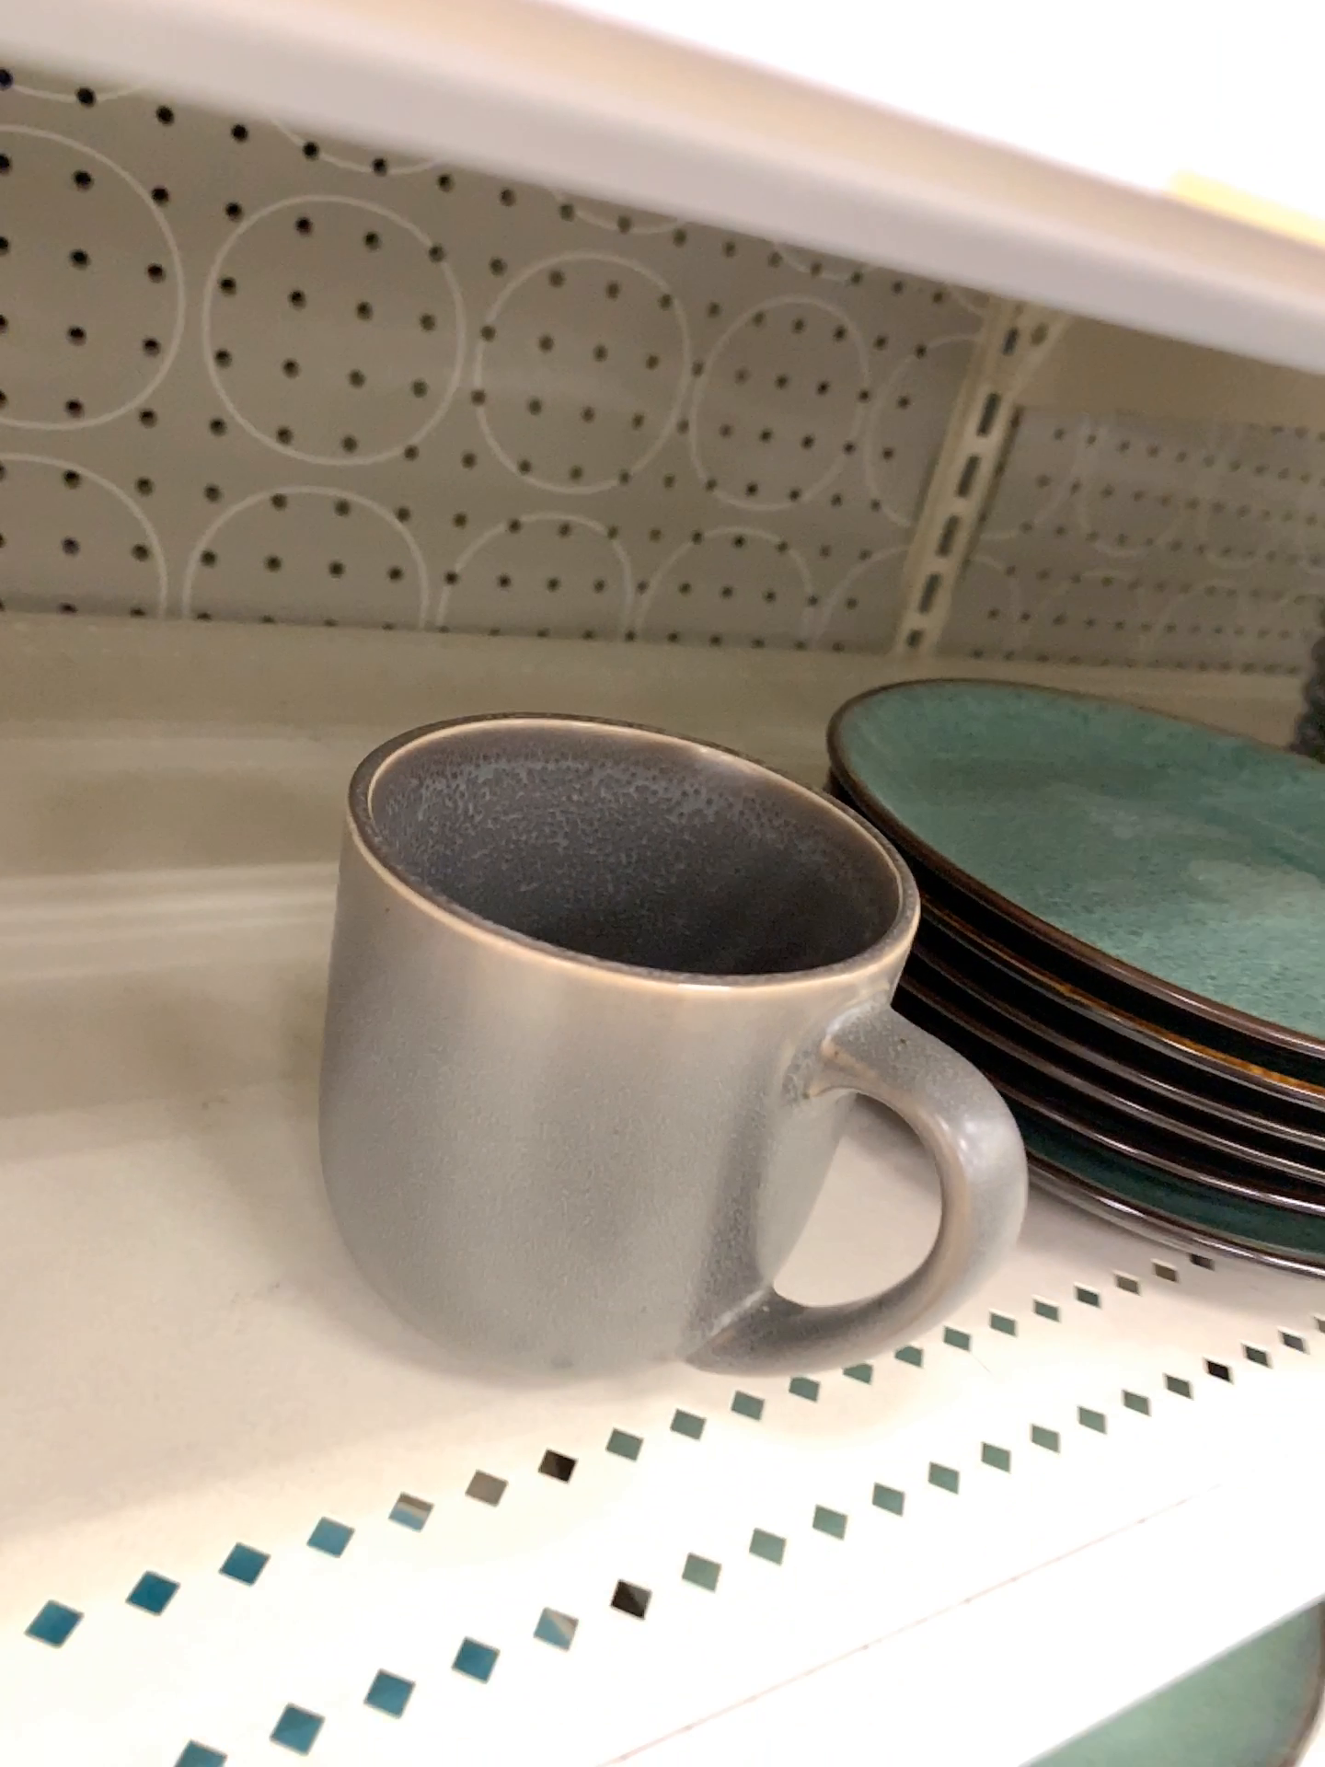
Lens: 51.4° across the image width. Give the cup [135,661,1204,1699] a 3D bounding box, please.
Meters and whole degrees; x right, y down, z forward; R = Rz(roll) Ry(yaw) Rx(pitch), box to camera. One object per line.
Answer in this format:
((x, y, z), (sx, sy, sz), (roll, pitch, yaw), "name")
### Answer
((-0.003, 0.030, 0.230), (0.130, 0.080, 0.100), (31, 30, 28), "cup")
